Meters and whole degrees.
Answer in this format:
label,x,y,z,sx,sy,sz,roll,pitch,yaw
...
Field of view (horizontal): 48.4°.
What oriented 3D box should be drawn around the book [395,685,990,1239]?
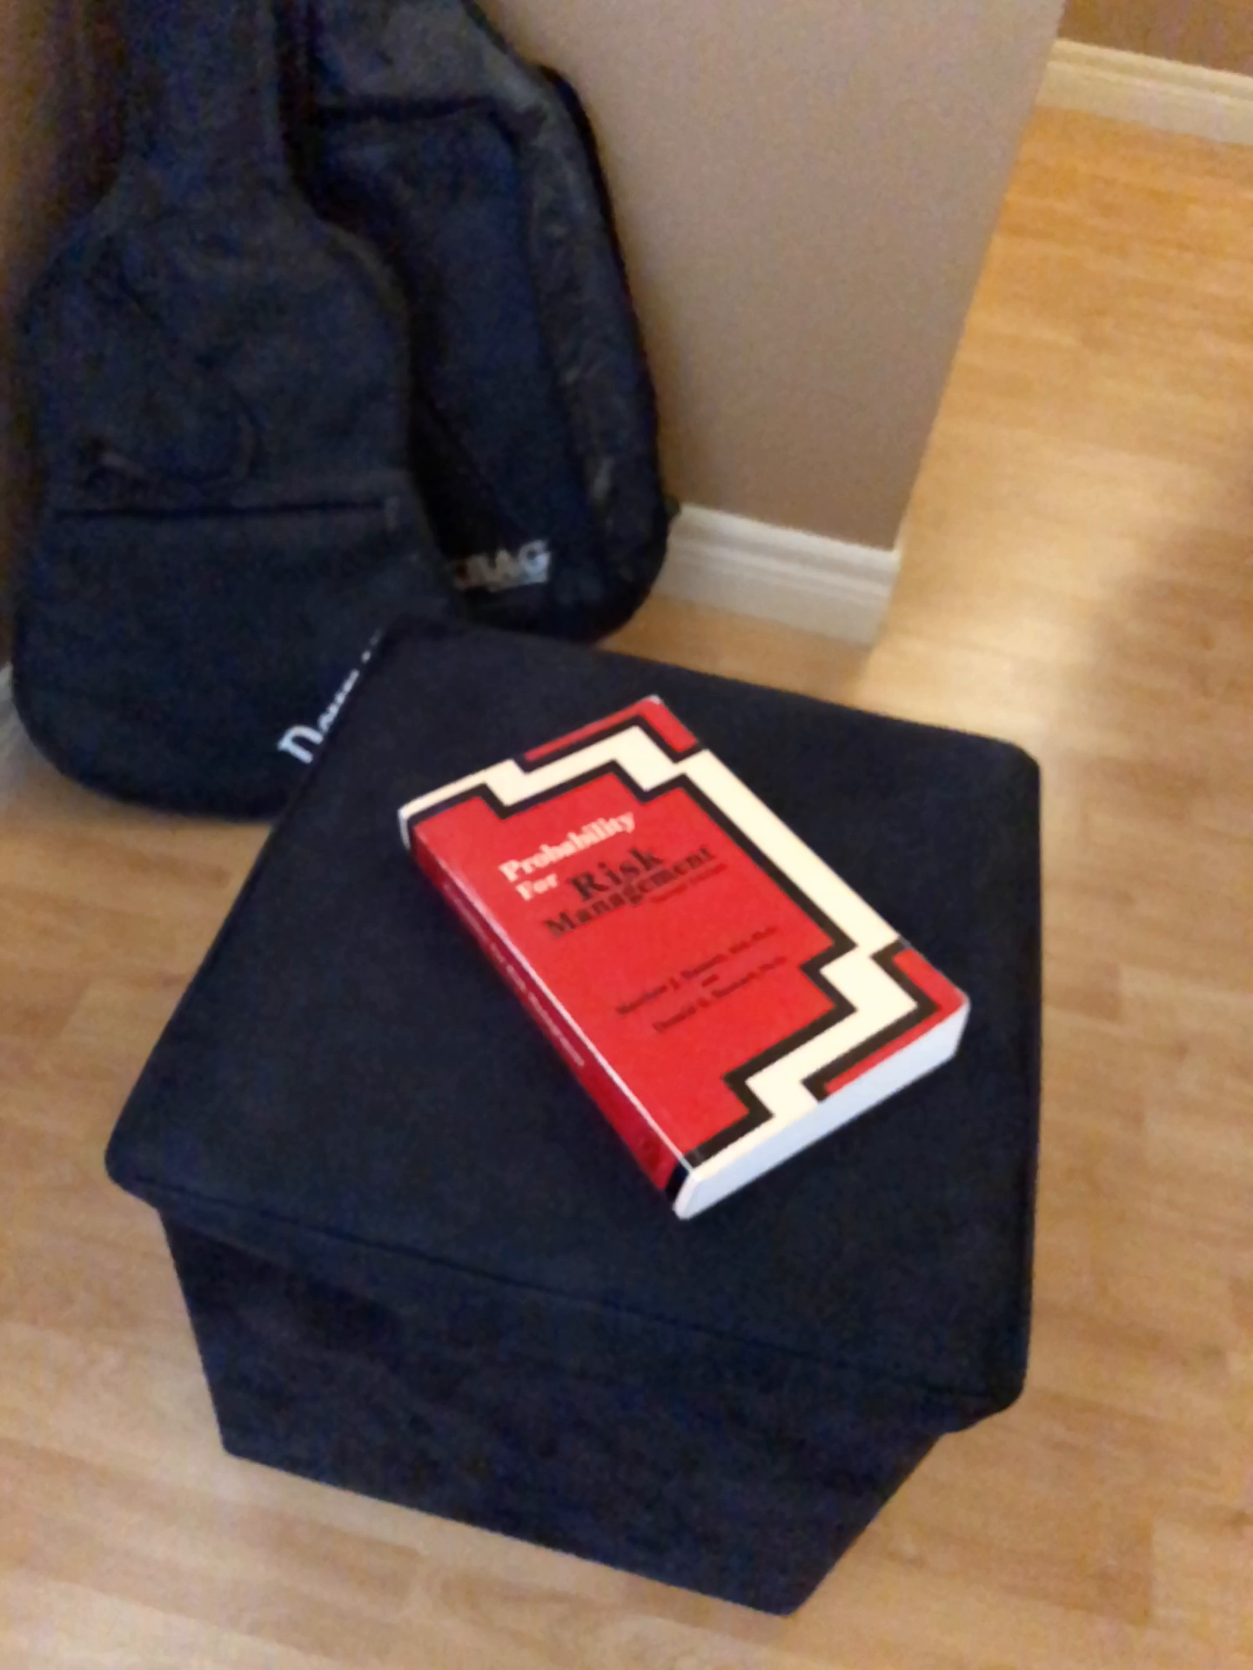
label,x,y,z,sx,sy,sz,roll,pitch,yaw
book,0.021,0.040,0.593,0.150,0.042,0.215,-24,56,-27
